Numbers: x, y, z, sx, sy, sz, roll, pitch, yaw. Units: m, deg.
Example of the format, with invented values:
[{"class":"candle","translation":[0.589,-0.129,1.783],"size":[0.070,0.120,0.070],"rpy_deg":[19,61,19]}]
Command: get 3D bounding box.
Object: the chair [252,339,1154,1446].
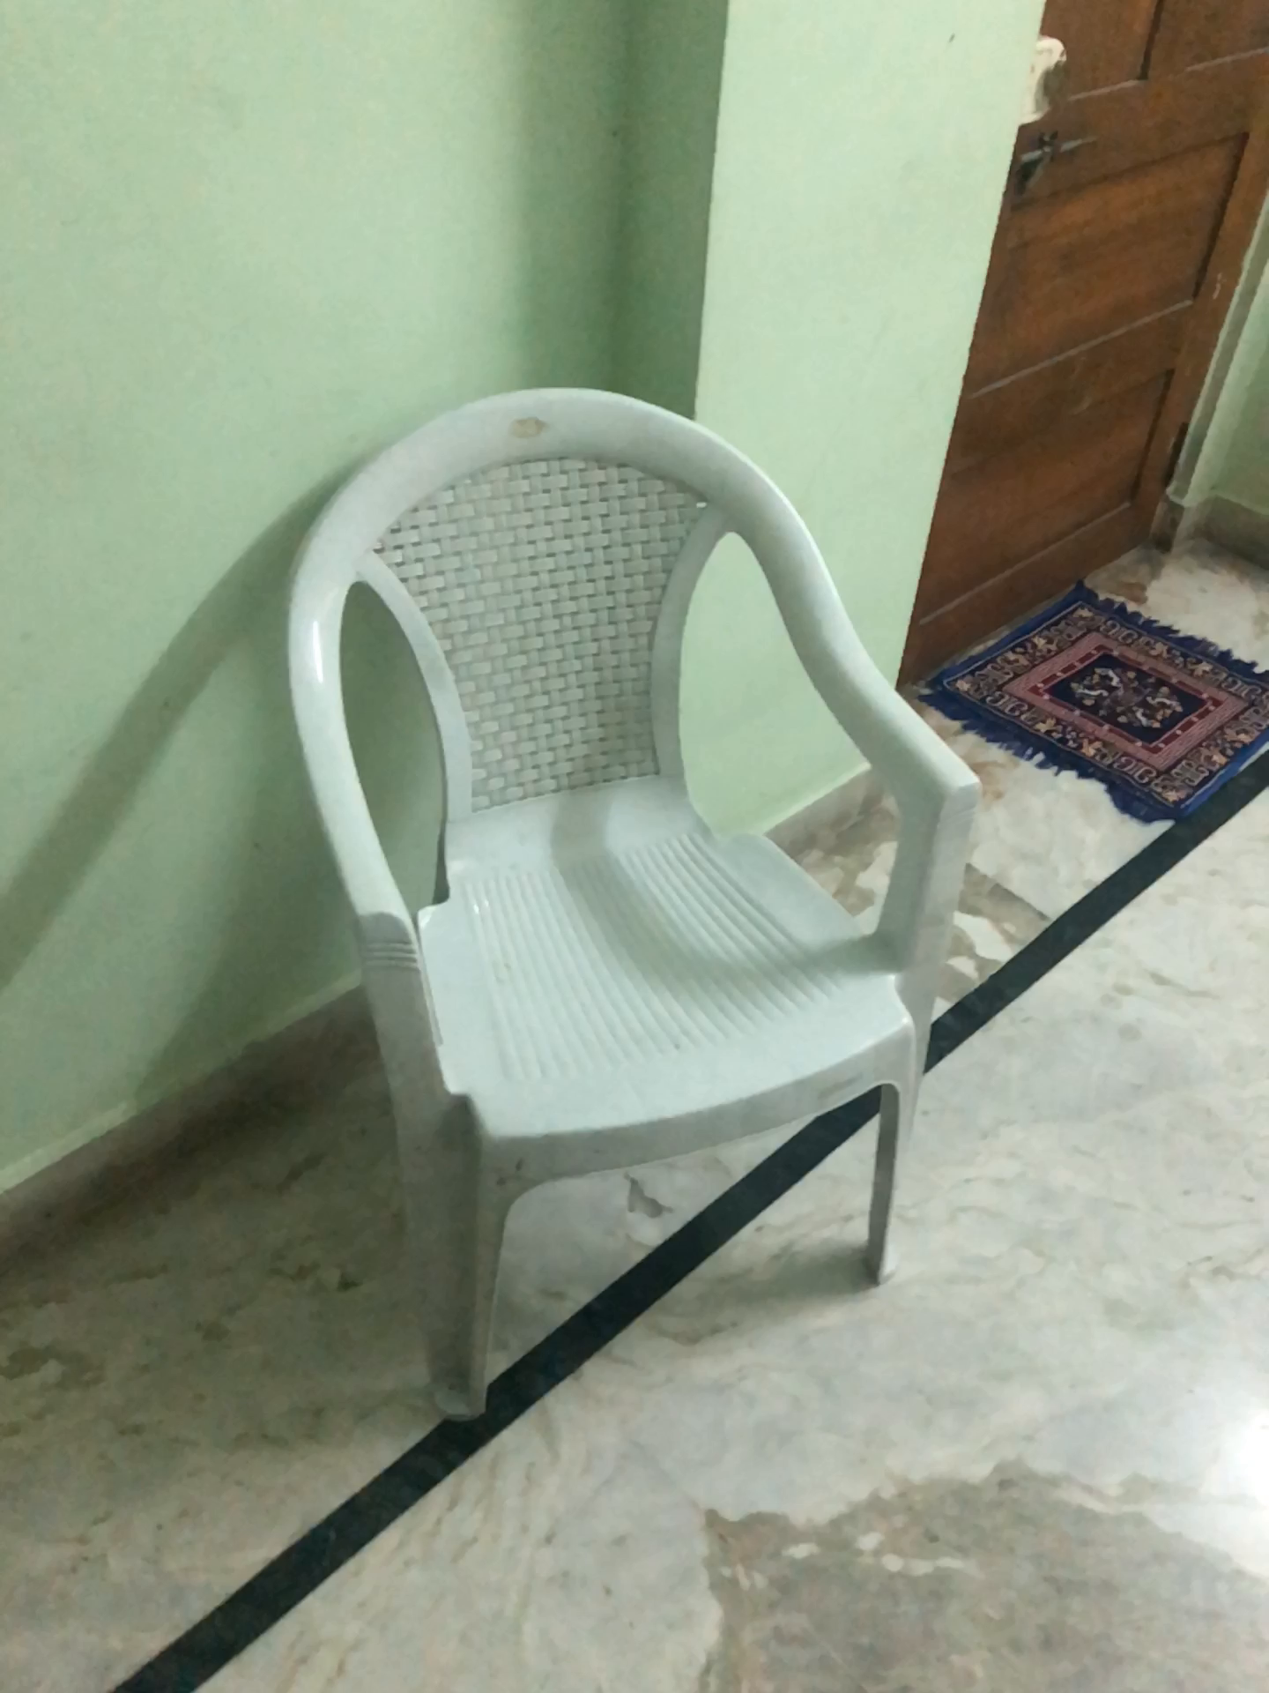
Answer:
[{"class":"chair","translation":[-0.006,0.049,1.322],"size":[0.530,0.825,0.533],"rpy_deg":[-11,43,-16]}]
